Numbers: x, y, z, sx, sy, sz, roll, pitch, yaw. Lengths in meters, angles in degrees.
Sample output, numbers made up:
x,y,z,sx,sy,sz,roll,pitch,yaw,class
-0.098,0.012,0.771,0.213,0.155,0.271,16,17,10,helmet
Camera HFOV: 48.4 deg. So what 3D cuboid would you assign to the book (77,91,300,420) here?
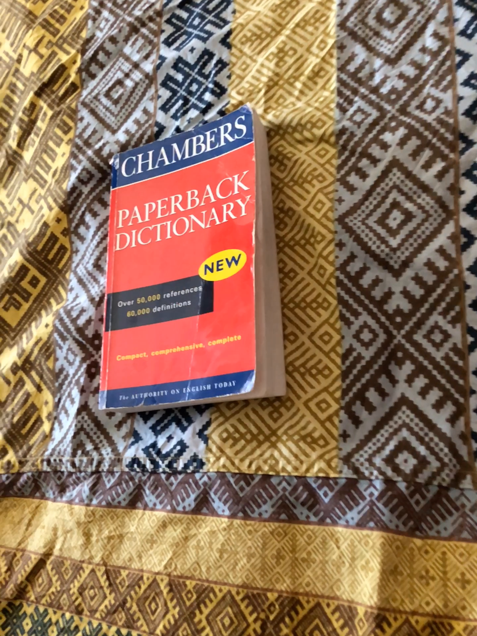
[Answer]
x,y,z,sx,sy,sz,roll,pitch,yaw,class
-0.034,-0.029,0.312,0.117,0.044,0.166,-11,74,26,book
